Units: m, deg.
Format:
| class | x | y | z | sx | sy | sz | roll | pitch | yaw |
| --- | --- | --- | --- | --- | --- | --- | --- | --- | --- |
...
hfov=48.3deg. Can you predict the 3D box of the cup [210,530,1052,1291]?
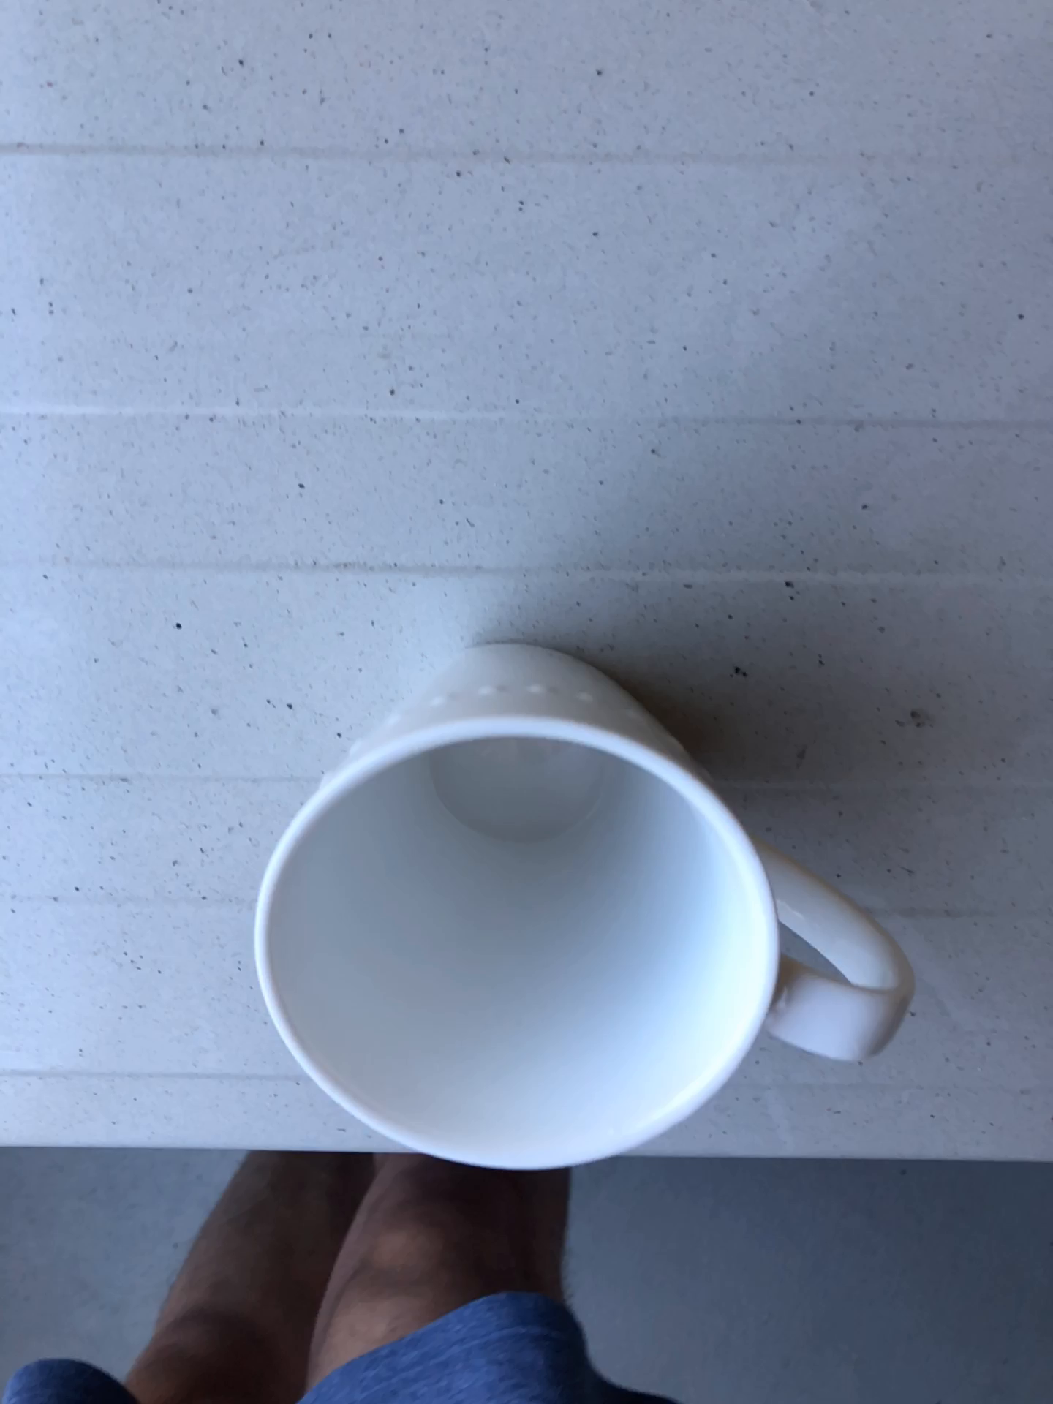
| class | x | y | z | sx | sy | sz | roll | pitch | yaw |
| --- | --- | --- | --- | --- | --- | --- | --- | --- | --- |
| cup | 0.021 | 0.035 | 0.246 | 0.140 | 0.100 | 0.100 | 11 | 107 | -5 |
